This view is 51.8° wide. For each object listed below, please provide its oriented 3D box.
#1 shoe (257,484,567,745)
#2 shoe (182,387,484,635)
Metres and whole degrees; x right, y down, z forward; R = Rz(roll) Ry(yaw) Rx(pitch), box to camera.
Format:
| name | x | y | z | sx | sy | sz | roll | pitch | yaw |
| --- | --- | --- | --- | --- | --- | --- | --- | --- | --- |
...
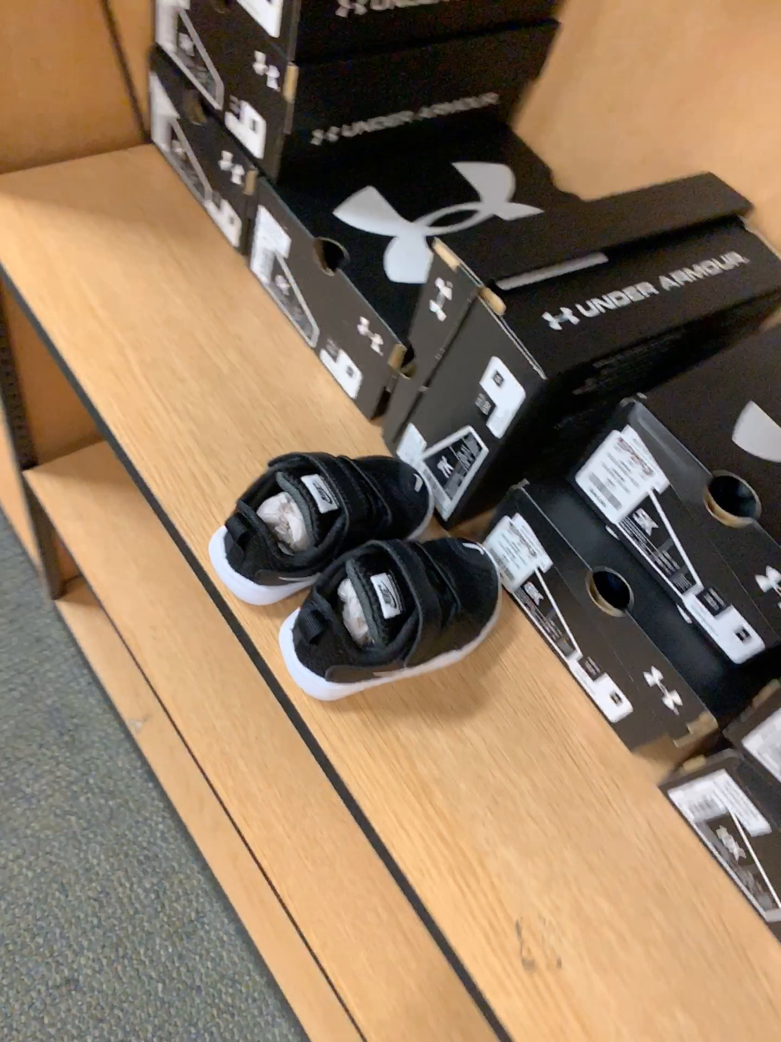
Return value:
| name | x | y | z | sx | sy | sz | roll | pitch | yaw |
| --- | --- | --- | --- | --- | --- | --- | --- | --- | --- |
| shoe | 0.011 | 0.047 | 0.431 | 0.140 | 0.060 | 0.070 | -24 | 70 | -27 |
| shoe | -0.032 | -0.008 | 0.440 | 0.140 | 0.060 | 0.070 | -24 | 70 | -27 |
